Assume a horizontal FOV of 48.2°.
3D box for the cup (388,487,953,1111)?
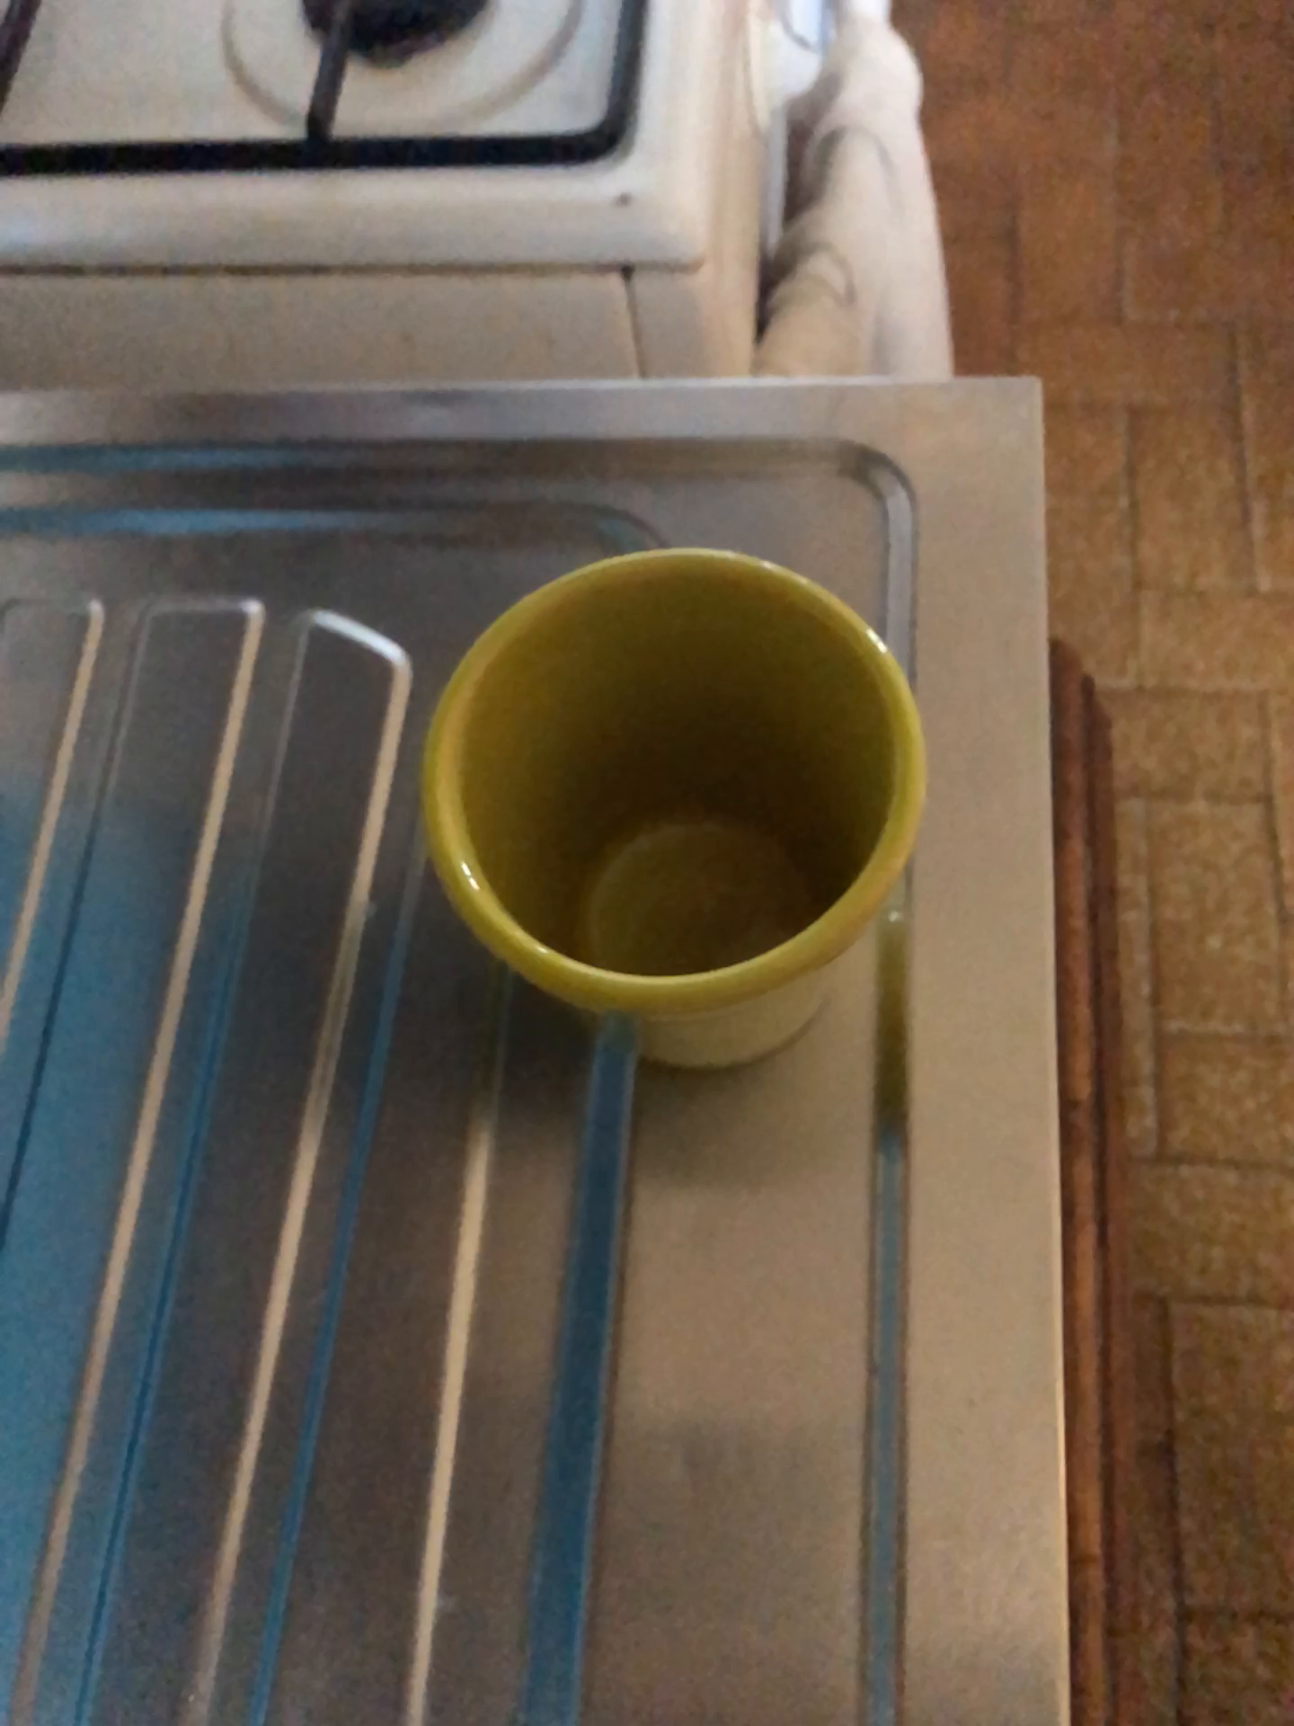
[{"bbox_3d":[0.010,-0.007,0.269,0.080,0.090,0.080,-2,68,5],"label":"cup"}]
